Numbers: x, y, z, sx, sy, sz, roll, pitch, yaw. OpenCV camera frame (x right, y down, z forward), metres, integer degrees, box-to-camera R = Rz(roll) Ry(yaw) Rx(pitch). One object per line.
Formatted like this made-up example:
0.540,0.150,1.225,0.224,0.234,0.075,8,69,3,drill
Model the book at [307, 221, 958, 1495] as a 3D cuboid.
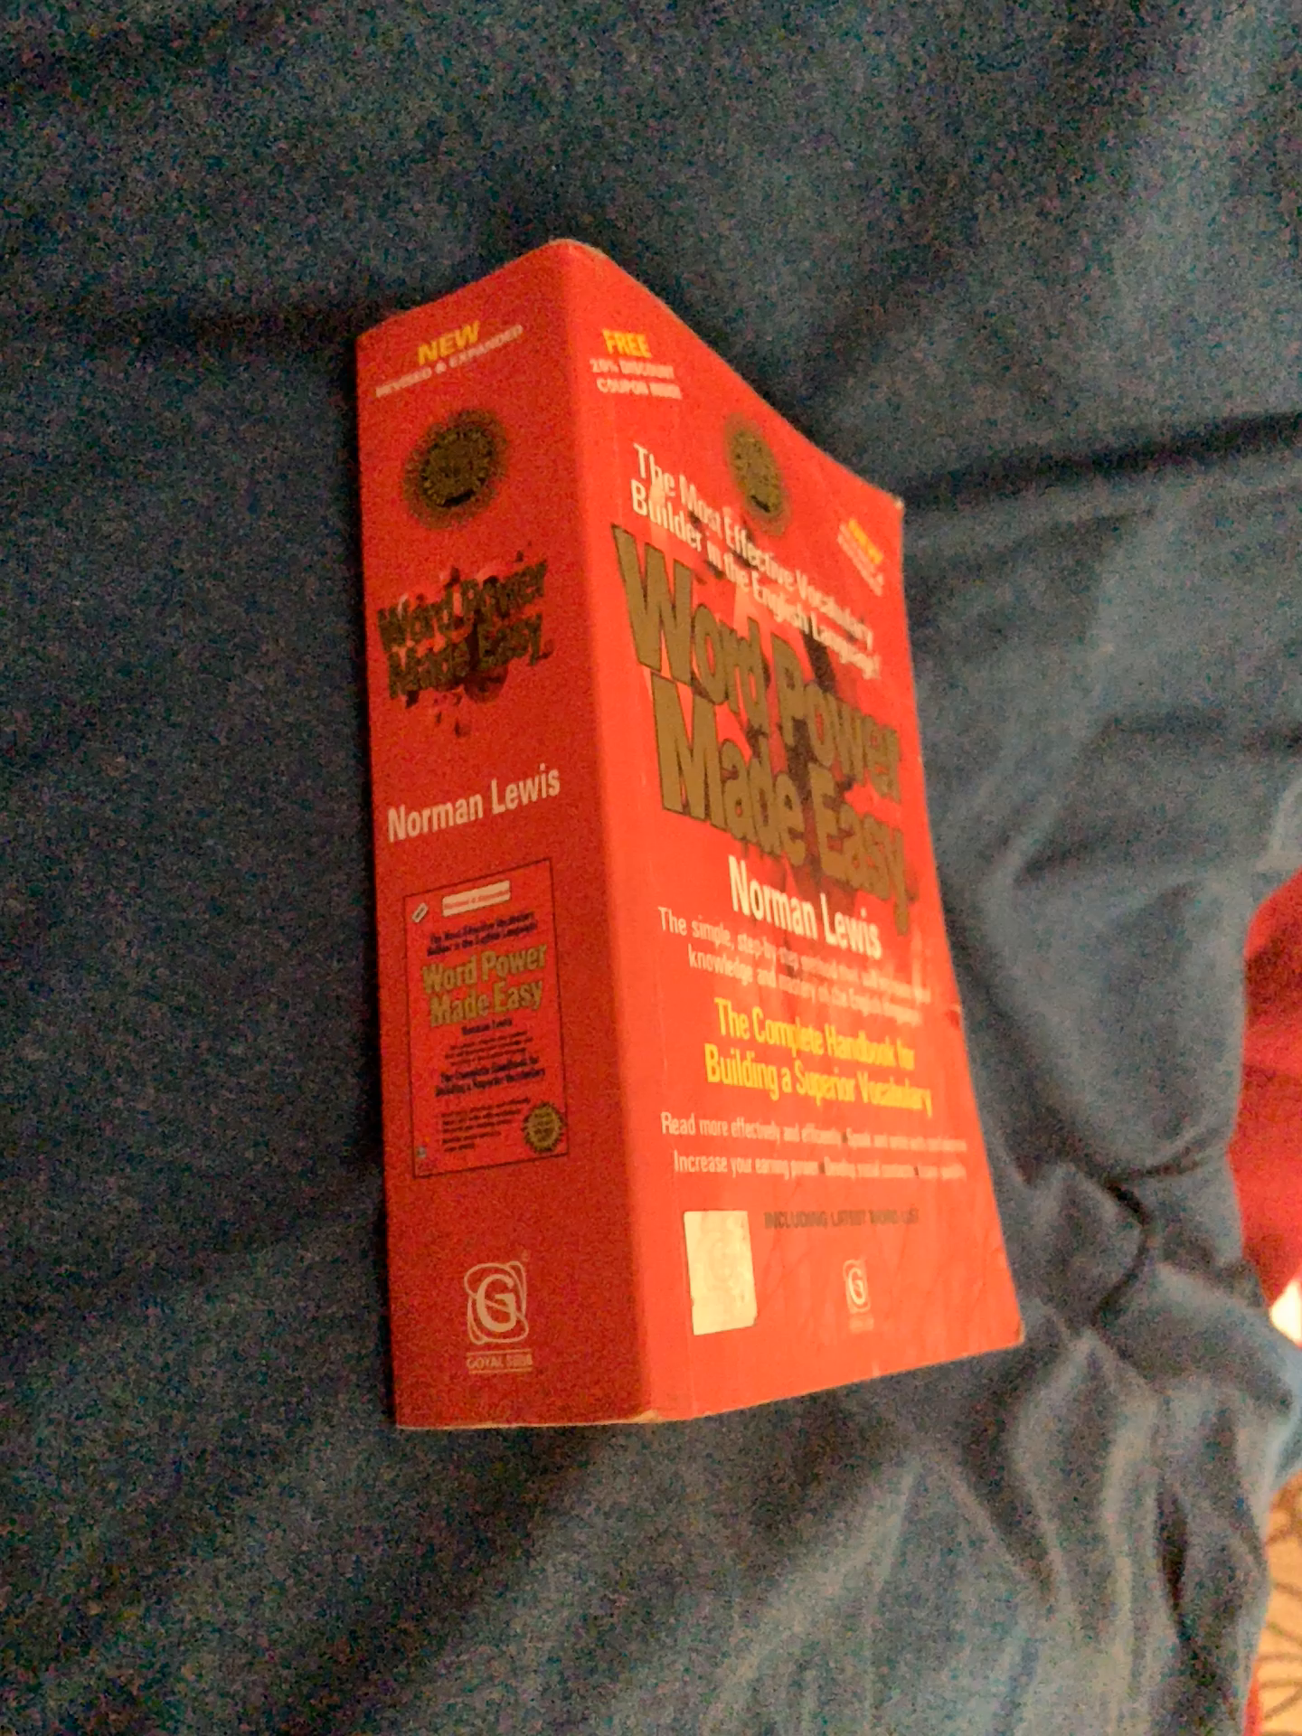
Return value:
0.005,0.004,0.255,0.121,0.050,0.190,26,59,-54,book
